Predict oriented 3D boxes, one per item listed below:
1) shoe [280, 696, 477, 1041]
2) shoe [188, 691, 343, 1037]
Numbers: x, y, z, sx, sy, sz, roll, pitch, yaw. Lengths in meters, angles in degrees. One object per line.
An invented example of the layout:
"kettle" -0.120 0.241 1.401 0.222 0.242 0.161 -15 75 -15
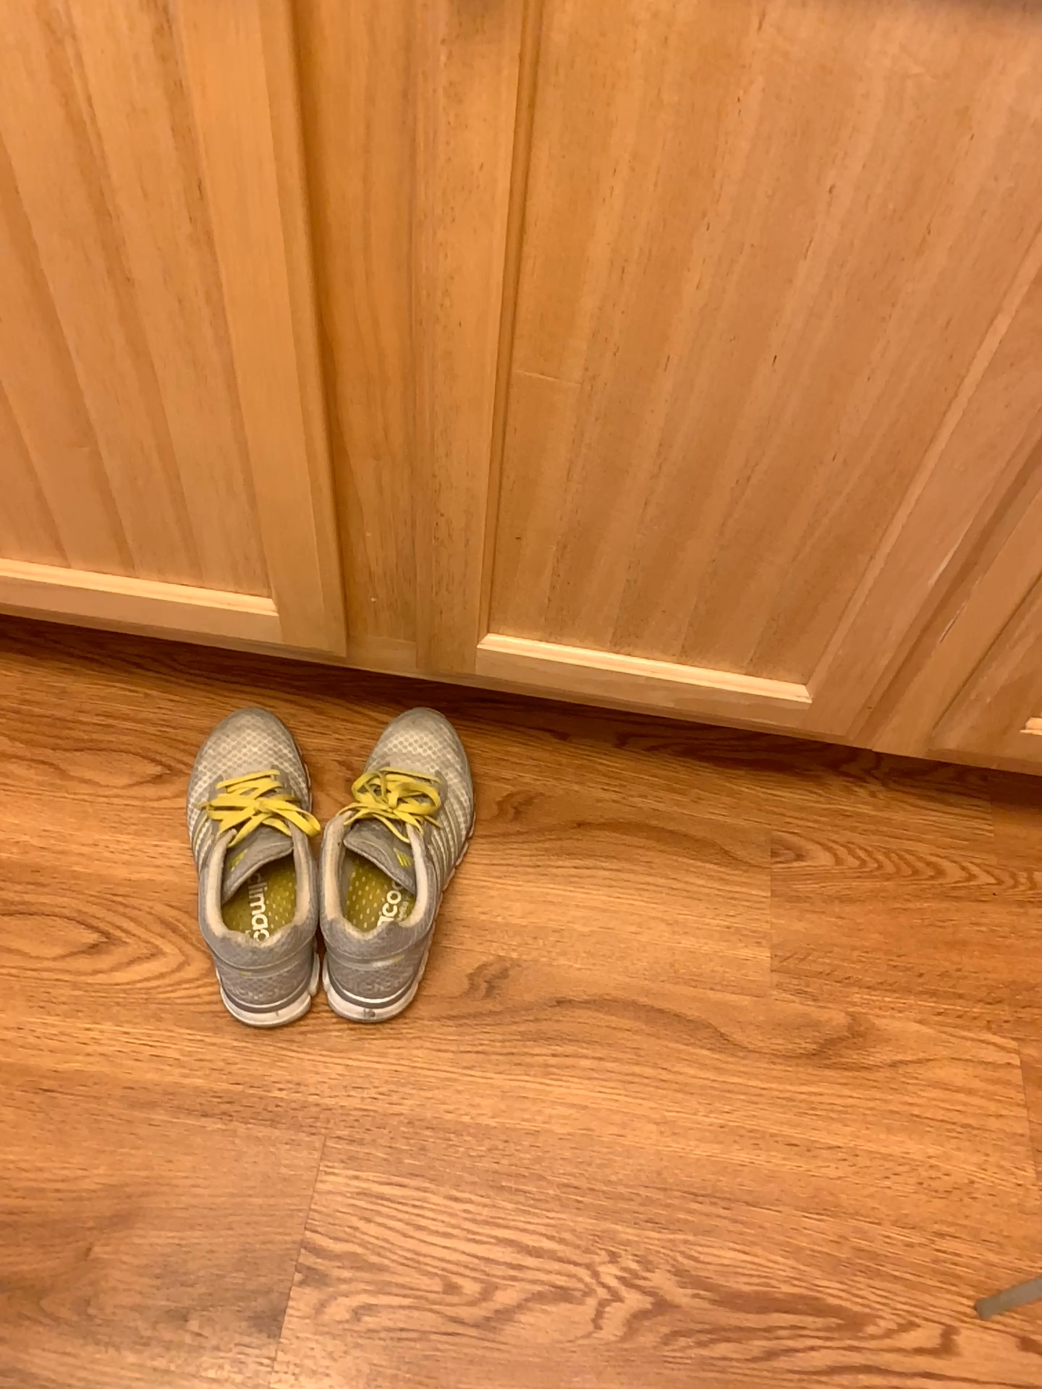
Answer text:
"shoe" -0.104 0.135 0.840 0.090 0.129 0.221 11 54 3
"shoe" -0.206 0.133 0.859 0.090 0.129 0.231 -8 55 -11
